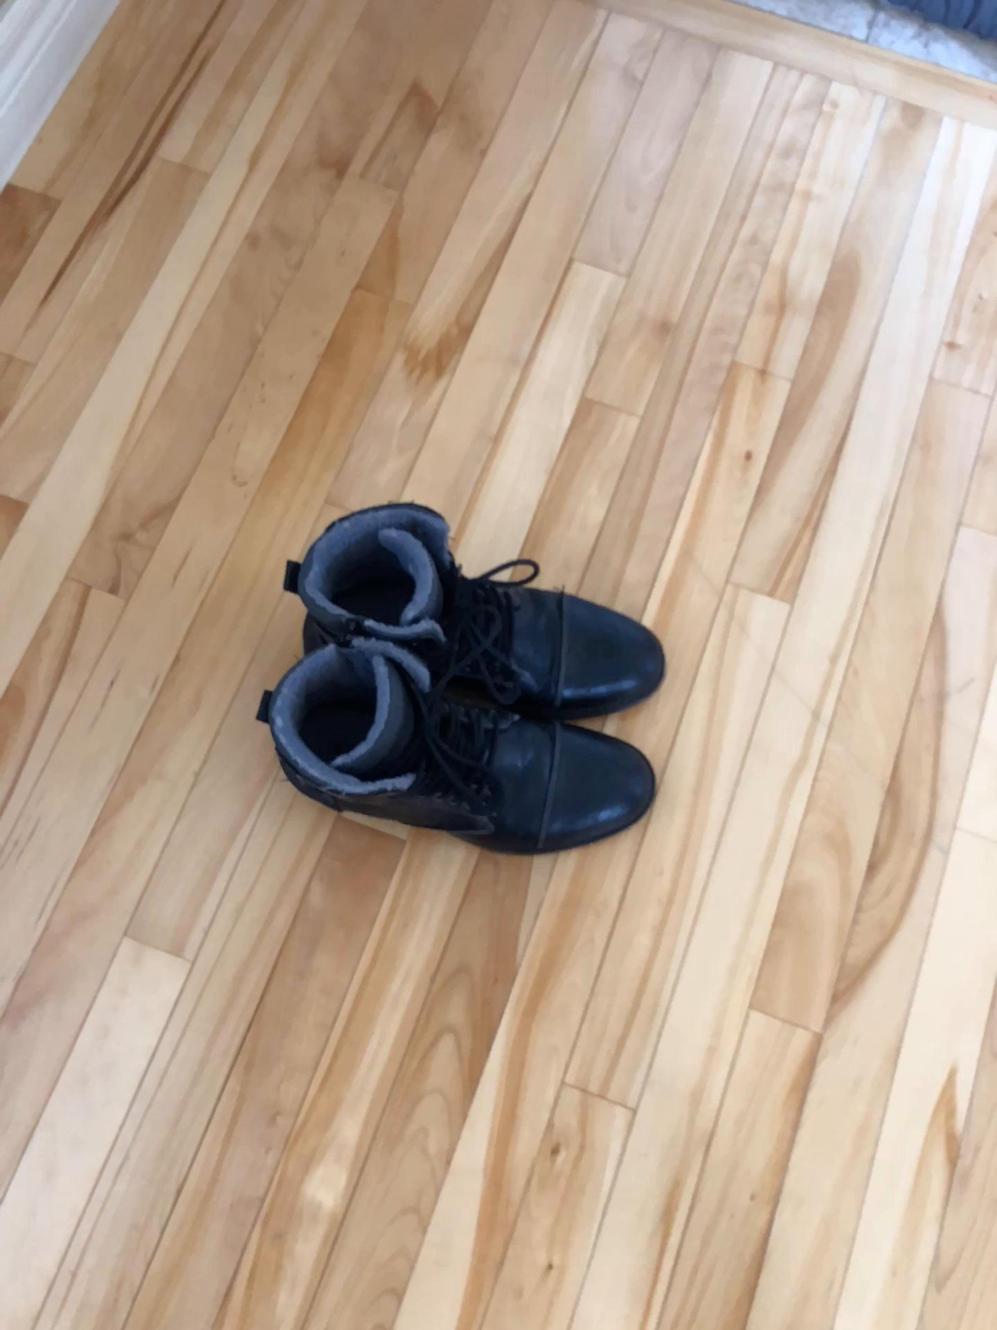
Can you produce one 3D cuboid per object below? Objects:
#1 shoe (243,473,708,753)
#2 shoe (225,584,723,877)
[{"bbox_3d":[-0.014,-0.030,0.834,0.300,0.200,0.120,6,73,0],"label":"shoe"},{"bbox_3d":[-0.014,0.056,0.771,0.290,0.200,0.120,8,73,1],"label":"shoe"}]
